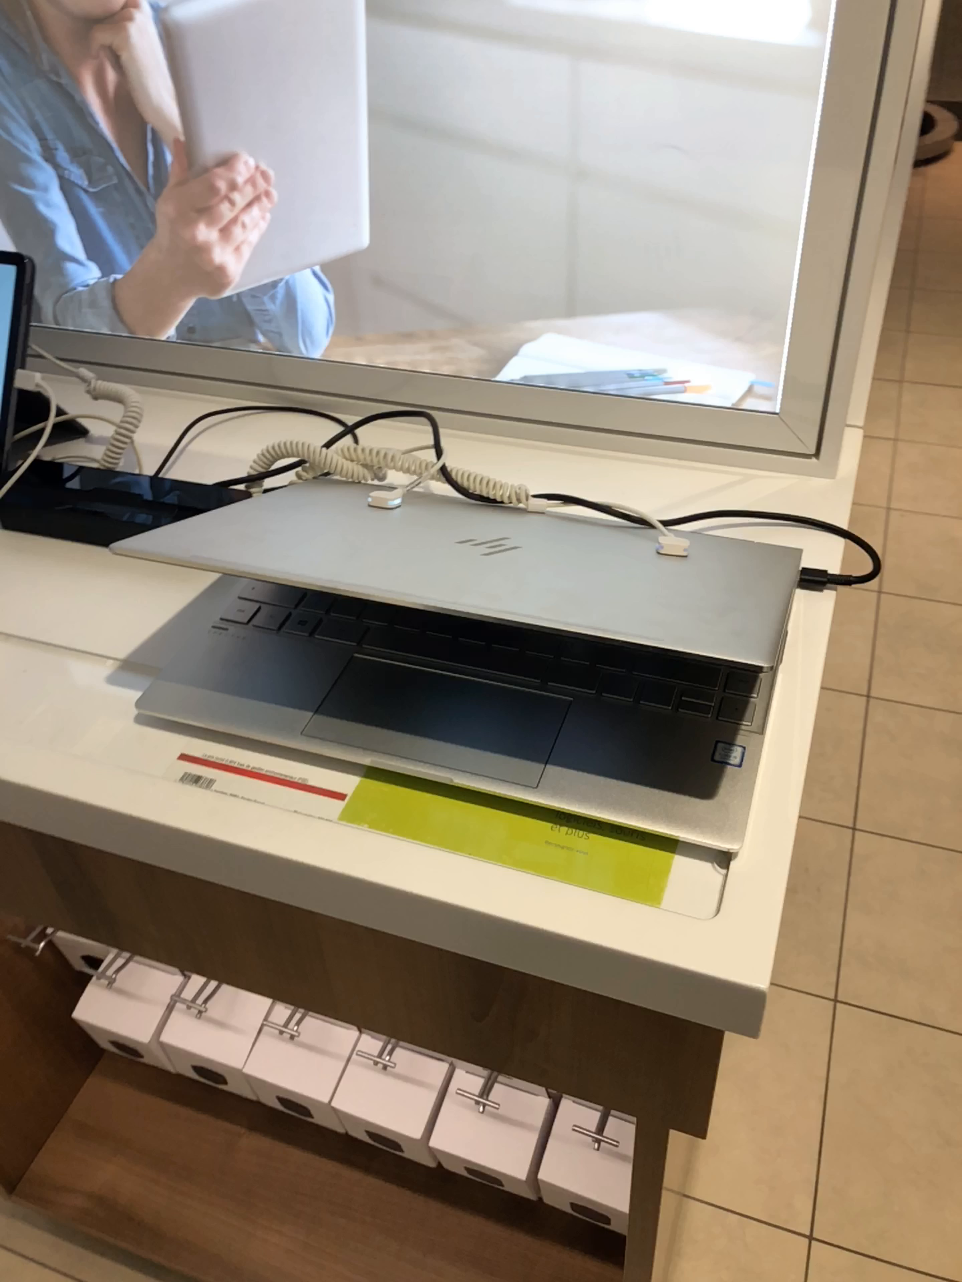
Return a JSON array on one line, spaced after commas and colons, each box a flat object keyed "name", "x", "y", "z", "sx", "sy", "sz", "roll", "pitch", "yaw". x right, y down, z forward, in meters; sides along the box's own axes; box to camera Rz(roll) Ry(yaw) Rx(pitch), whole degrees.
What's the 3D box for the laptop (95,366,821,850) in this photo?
[{"name": "laptop", "x": 0.001, "y": -0.038, "z": 0.536, "sx": 0.298, "sy": 0.078, "sz": 0.212, "roll": 11, "pitch": 43, "yaw": 17}]
